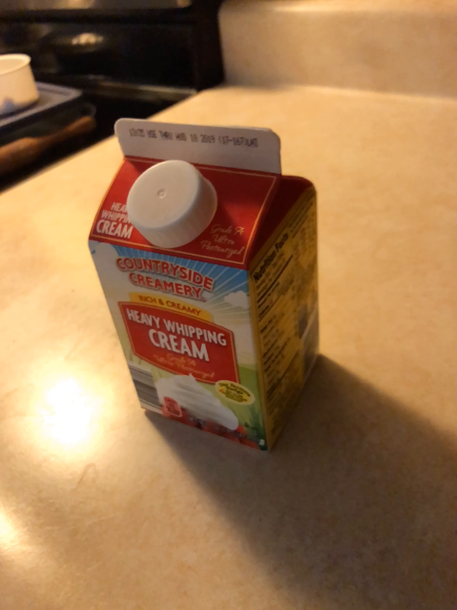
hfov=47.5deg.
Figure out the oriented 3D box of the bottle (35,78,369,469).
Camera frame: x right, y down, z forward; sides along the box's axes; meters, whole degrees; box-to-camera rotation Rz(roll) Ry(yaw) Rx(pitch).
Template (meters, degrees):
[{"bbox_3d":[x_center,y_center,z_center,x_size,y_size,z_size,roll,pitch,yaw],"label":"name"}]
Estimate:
[{"bbox_3d":[0.001,-0.018,0.228,0.090,0.130,0.090,-5,37,4],"label":"bottle"}]
